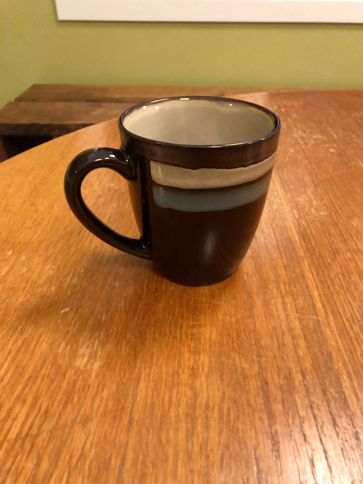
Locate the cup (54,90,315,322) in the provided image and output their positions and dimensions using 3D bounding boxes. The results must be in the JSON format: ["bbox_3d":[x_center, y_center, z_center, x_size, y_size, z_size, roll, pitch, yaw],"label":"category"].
[{"bbox_3d":[-0.006,-0.031,0.256,0.125,0.093,0.099,-10,36,-14],"label":"cup"}]
